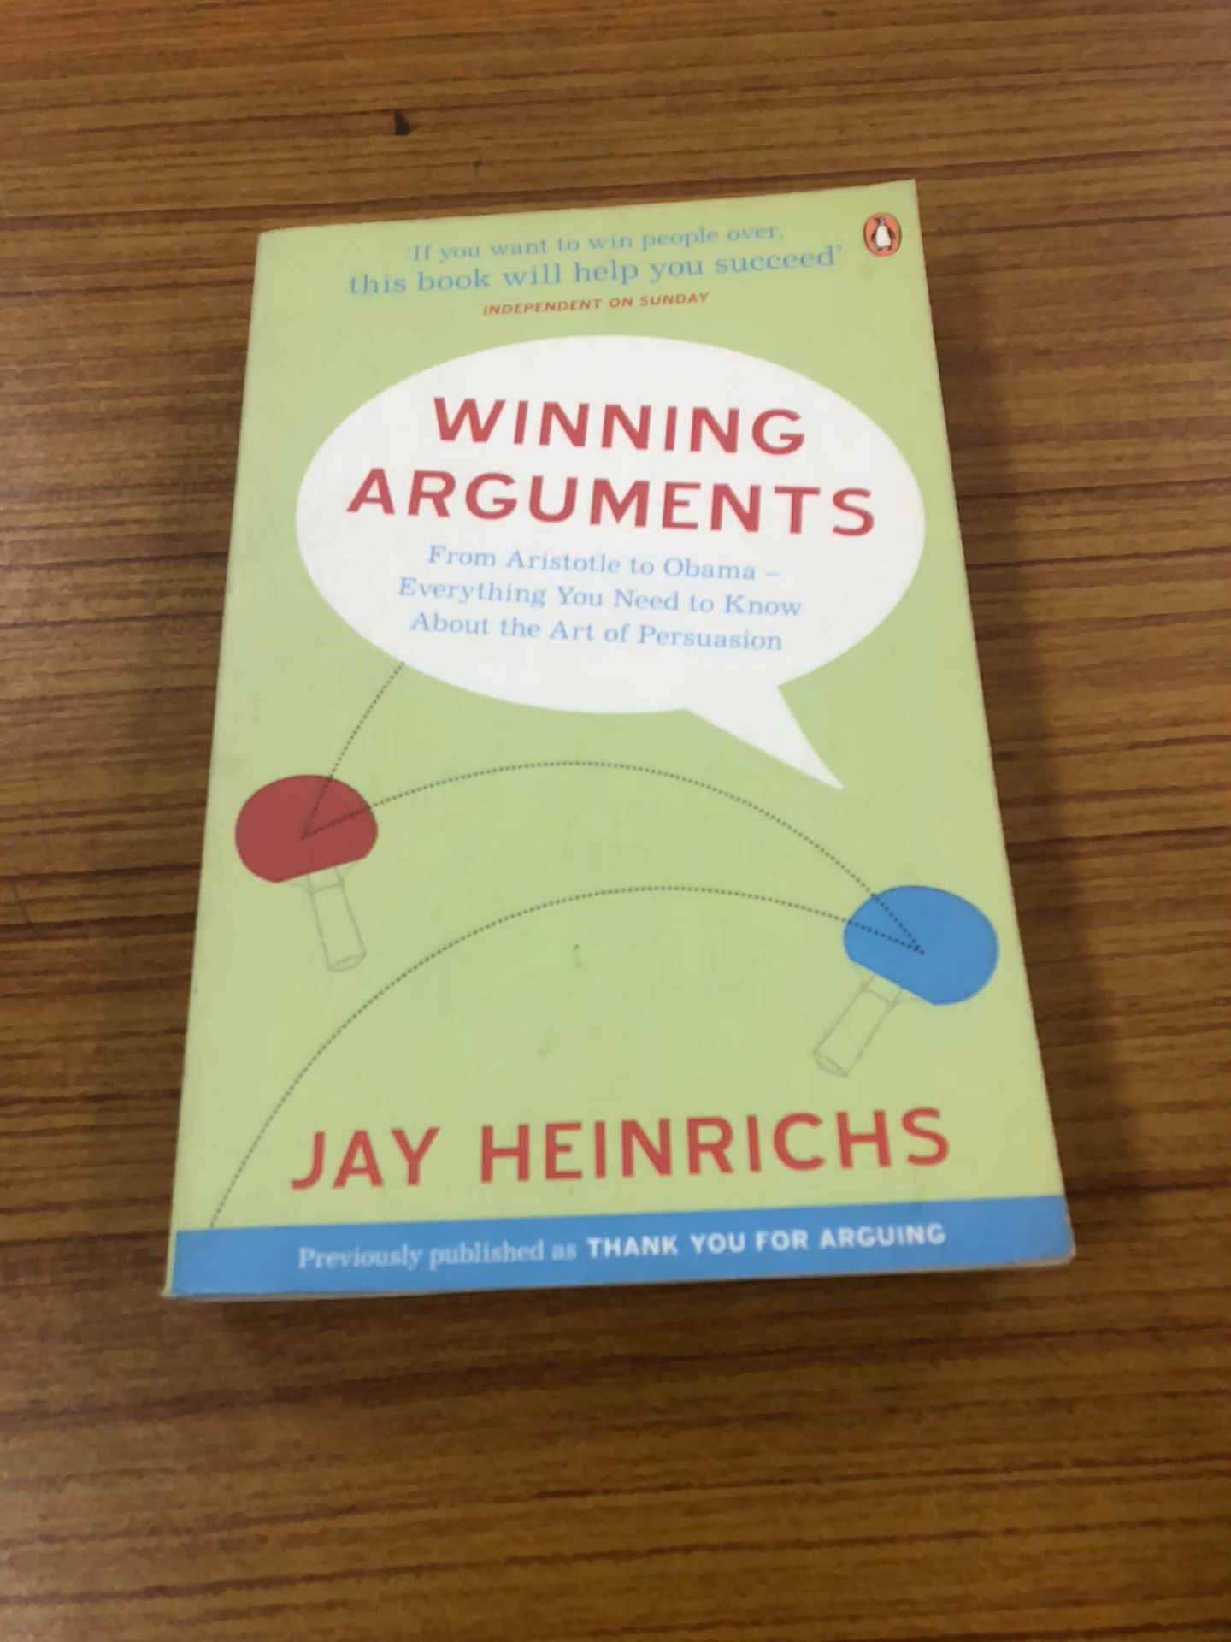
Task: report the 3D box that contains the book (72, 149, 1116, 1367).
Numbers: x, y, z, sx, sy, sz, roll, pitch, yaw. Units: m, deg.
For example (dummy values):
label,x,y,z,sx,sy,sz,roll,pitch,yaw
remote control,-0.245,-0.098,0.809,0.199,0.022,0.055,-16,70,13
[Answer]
label,x,y,z,sx,sy,sz,roll,pitch,yaw
book,-0.005,-0.021,0.236,0.140,0.030,0.210,-2,69,1
